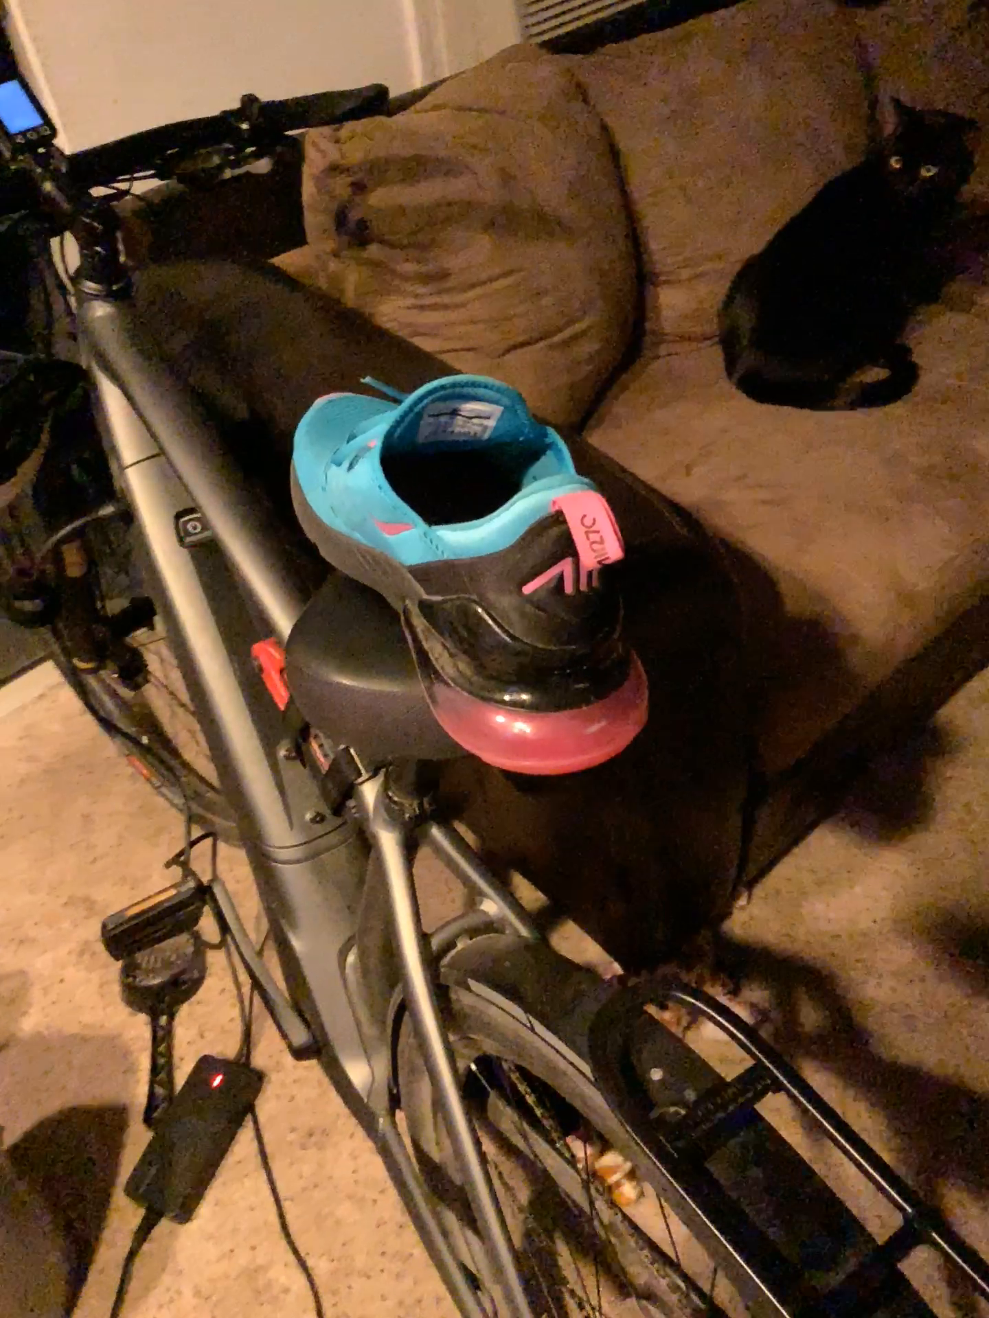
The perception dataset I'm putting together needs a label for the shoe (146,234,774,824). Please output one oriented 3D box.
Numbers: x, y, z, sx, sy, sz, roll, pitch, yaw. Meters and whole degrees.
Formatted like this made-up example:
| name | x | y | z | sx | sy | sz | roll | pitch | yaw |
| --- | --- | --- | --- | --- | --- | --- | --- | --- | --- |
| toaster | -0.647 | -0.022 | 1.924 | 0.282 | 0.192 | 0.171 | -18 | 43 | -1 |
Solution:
| name | x | y | z | sx | sy | sz | roll | pitch | yaw |
| --- | --- | --- | --- | --- | --- | --- | --- | --- | --- |
| shoe | -0.033 | -0.092 | 0.578 | 0.150 | 0.130 | 0.330 | -29 | 47 | -21 |
